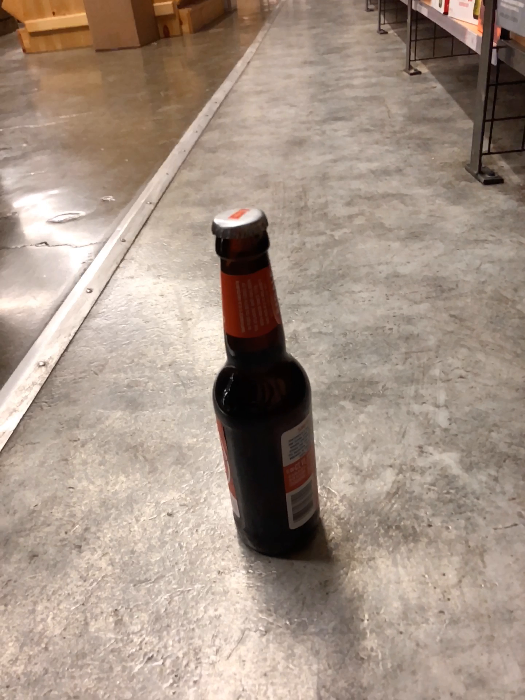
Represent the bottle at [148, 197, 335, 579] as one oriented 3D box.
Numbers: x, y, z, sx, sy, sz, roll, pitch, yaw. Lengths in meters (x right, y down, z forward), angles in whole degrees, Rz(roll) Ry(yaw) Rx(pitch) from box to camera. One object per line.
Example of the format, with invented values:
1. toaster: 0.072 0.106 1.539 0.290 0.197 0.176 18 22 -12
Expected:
1. bottle: -0.001 0.031 0.335 0.060 0.219 0.059 -5 34 3
